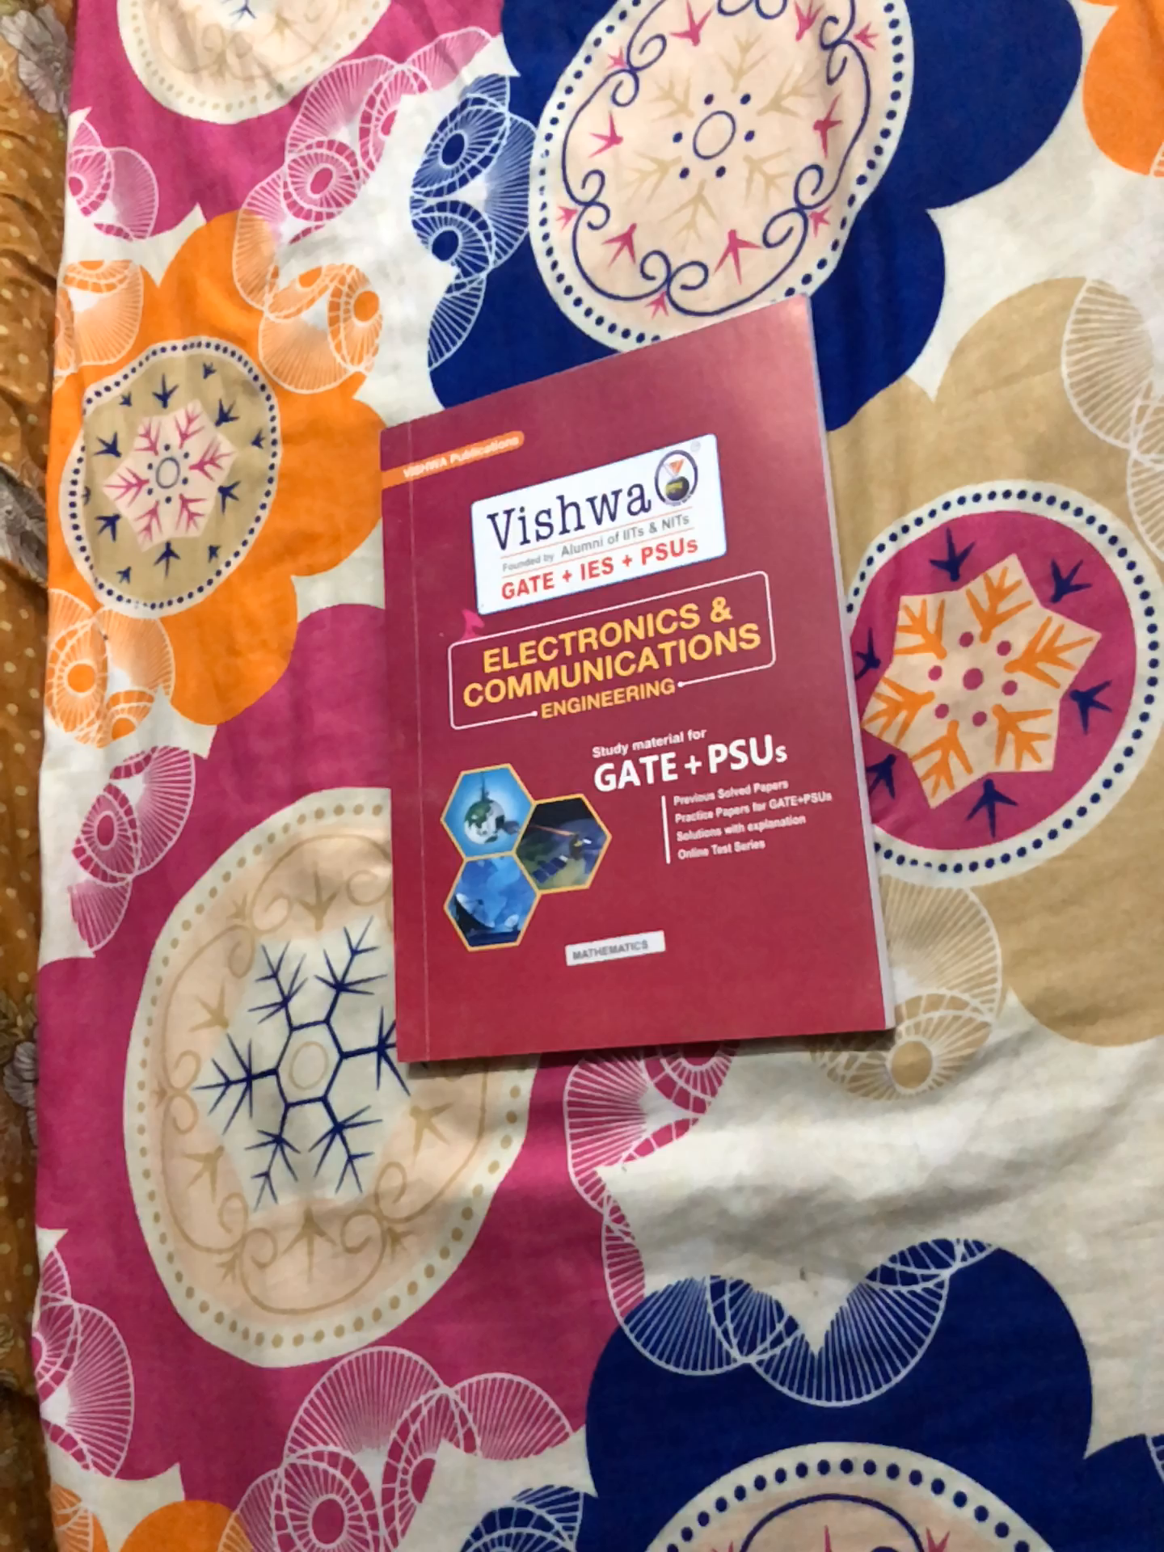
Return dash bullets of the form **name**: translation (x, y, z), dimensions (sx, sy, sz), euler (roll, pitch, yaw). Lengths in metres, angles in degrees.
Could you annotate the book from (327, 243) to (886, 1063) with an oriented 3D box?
- **book**: translation (-0.004, -0.043, 0.524), dimensions (0.217, 0.030, 0.300), euler (-9, 75, 24)
